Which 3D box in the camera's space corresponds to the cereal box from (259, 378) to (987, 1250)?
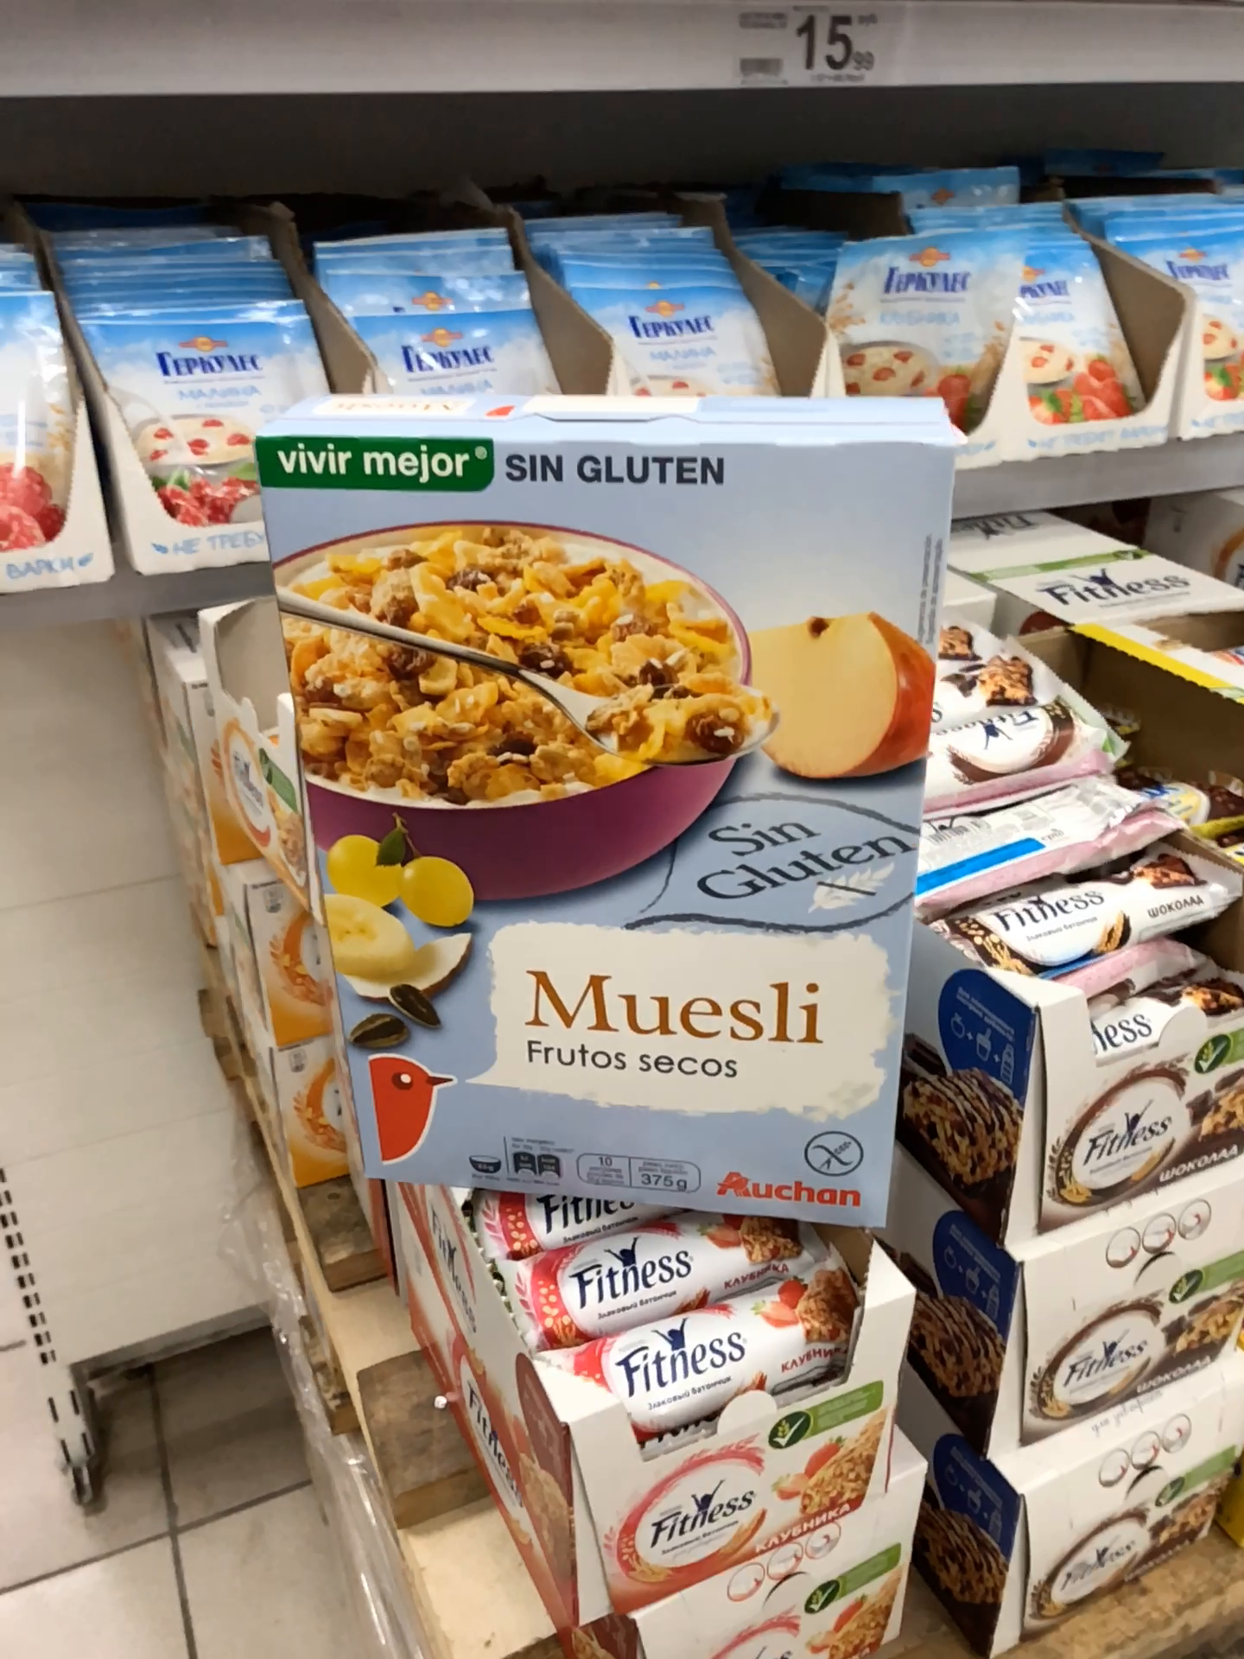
[{"bbox_3d":[0.003,0.003,0.464,0.200,0.288,0.060,4,28,8],"label":"cereal box"}]
